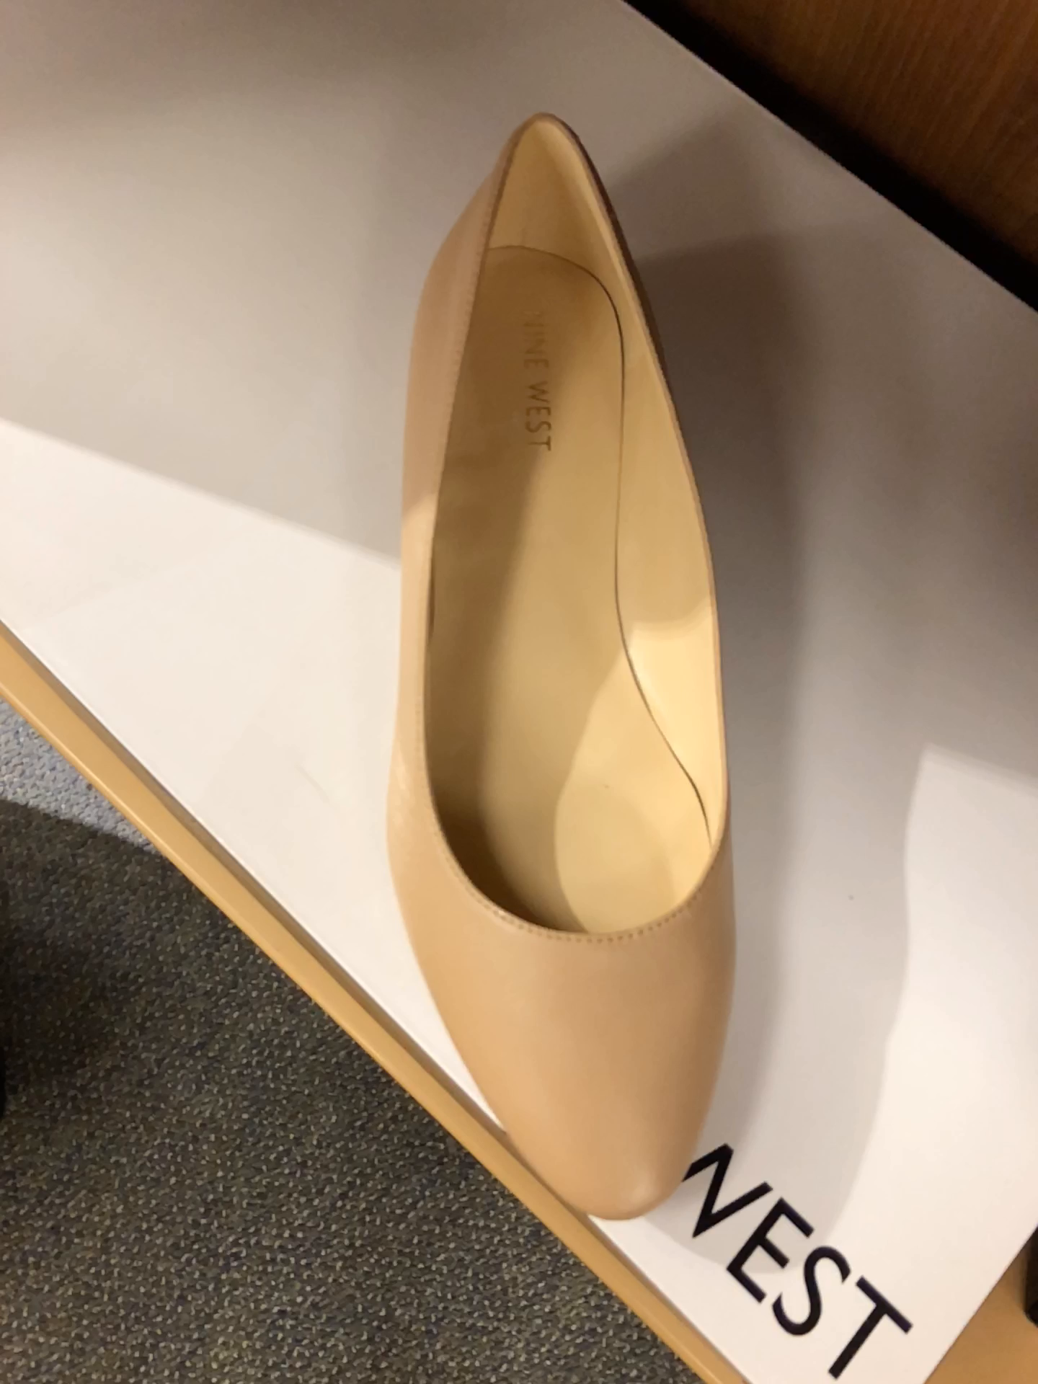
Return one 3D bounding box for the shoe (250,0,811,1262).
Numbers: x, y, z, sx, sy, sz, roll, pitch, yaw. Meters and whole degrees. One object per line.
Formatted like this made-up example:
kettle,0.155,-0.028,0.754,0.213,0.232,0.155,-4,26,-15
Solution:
shoe,-0.005,-0.028,0.265,0.081,0.070,0.270,-6,78,-3
